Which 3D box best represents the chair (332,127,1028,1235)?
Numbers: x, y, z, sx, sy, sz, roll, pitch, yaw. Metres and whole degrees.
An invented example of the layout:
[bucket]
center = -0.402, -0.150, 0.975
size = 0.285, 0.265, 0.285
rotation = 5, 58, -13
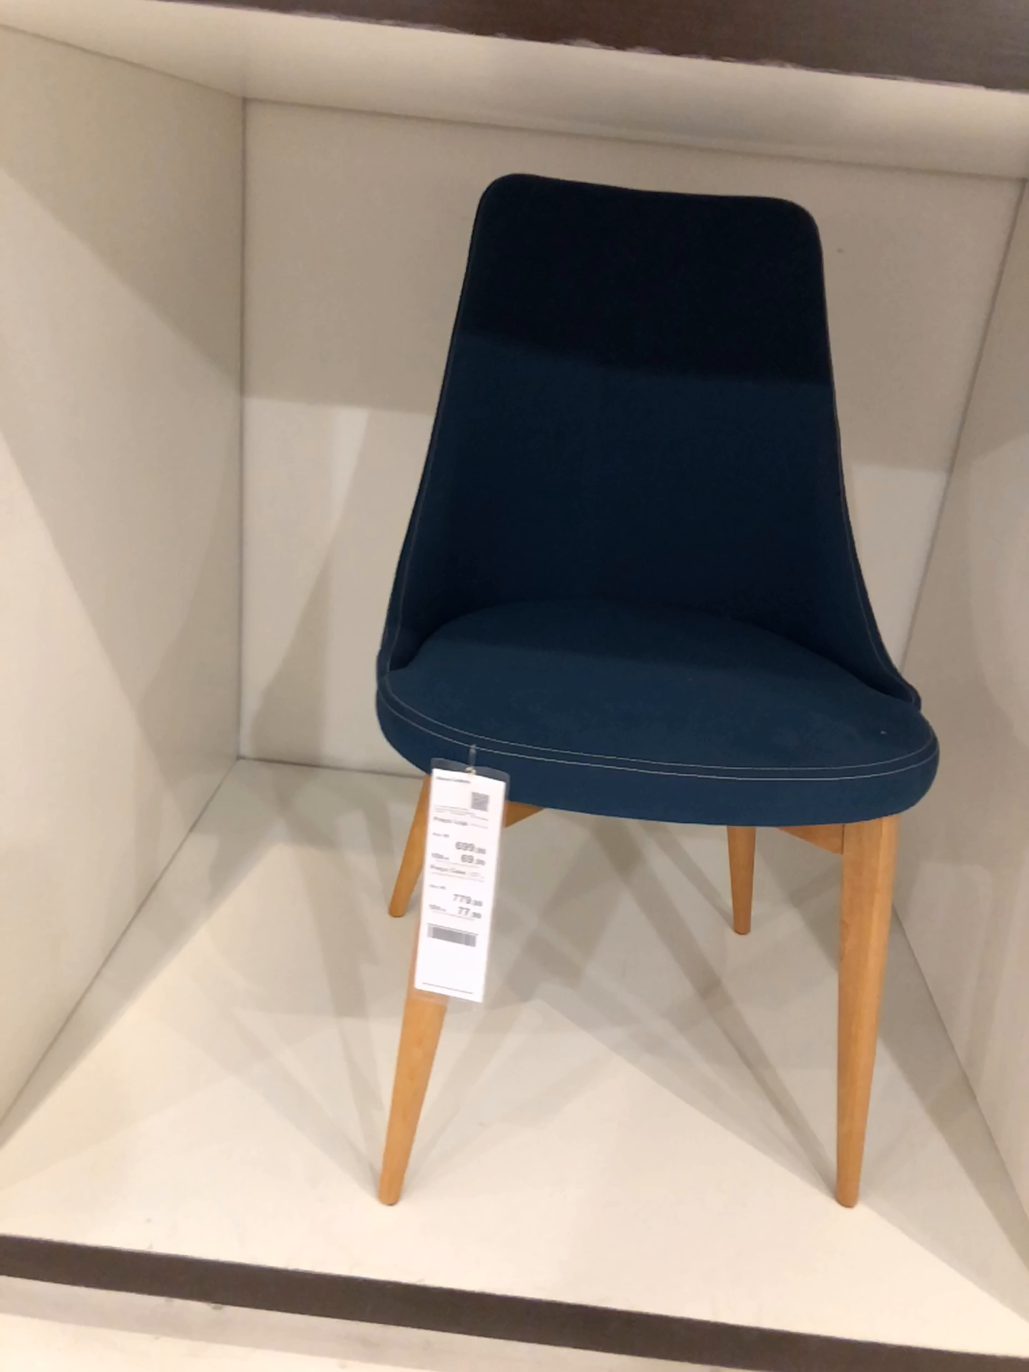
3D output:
[chair]
center = 0.126, -0.018, 1.087
size = 0.520, 0.864, 0.524
rotation = 4, 23, -4
